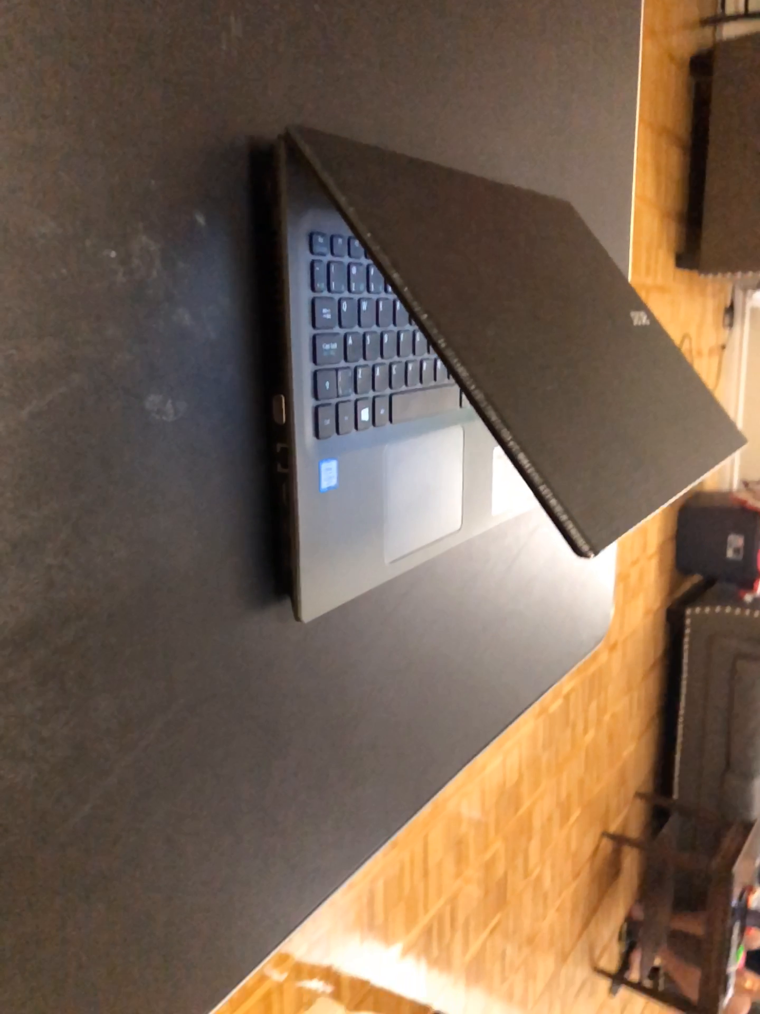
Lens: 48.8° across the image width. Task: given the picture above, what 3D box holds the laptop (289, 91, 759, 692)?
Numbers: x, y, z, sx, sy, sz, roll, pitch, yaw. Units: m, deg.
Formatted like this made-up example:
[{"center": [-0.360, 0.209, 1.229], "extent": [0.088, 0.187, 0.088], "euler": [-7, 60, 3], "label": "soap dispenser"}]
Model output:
[{"center": [0.123, -0.083, 0.545], "extent": [0.371, 0.155, 0.251], "euler": [-20, 114, -55], "label": "laptop"}]
